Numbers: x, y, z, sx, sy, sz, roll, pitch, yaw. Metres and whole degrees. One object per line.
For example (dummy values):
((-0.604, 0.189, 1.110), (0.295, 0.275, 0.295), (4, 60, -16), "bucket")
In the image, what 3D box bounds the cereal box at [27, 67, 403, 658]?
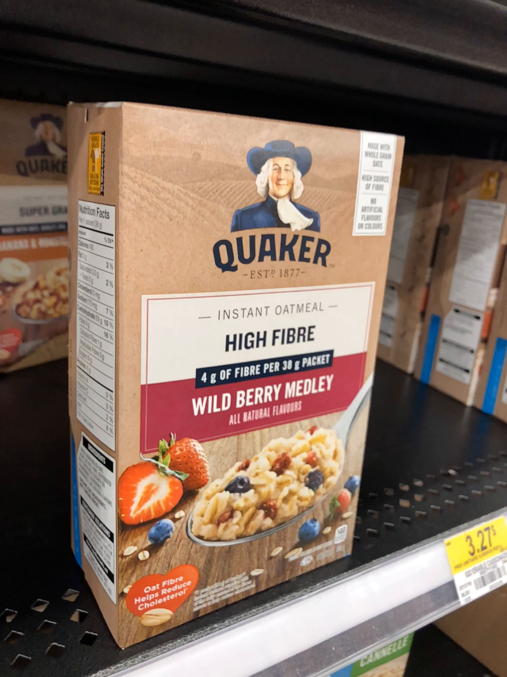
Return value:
((-0.017, 0.007, 0.243), (0.130, 0.199, 0.060), (-6, 18, -33), "cereal box")
